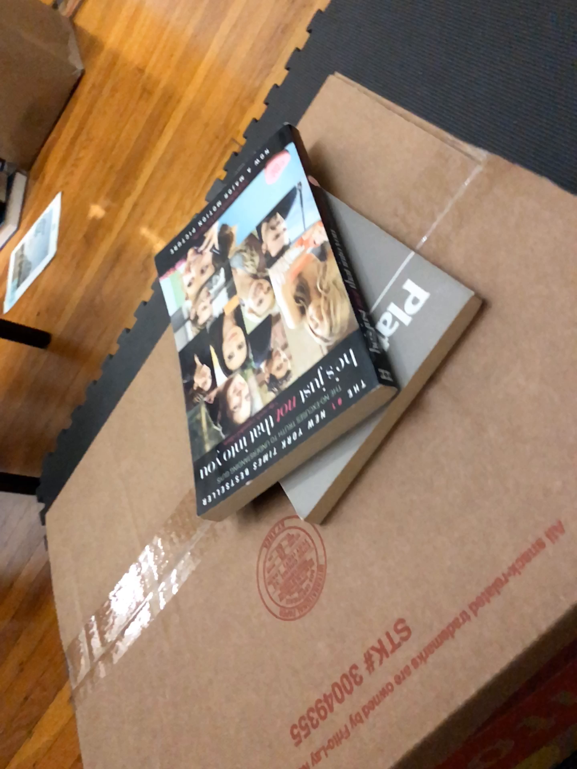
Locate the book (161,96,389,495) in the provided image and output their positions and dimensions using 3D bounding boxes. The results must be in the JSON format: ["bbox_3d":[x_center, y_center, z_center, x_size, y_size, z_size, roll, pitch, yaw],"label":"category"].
[{"bbox_3d":[-0.027,-0.066,0.415,0.150,0.010,0.231,-40,47,31],"label":"book"}]
